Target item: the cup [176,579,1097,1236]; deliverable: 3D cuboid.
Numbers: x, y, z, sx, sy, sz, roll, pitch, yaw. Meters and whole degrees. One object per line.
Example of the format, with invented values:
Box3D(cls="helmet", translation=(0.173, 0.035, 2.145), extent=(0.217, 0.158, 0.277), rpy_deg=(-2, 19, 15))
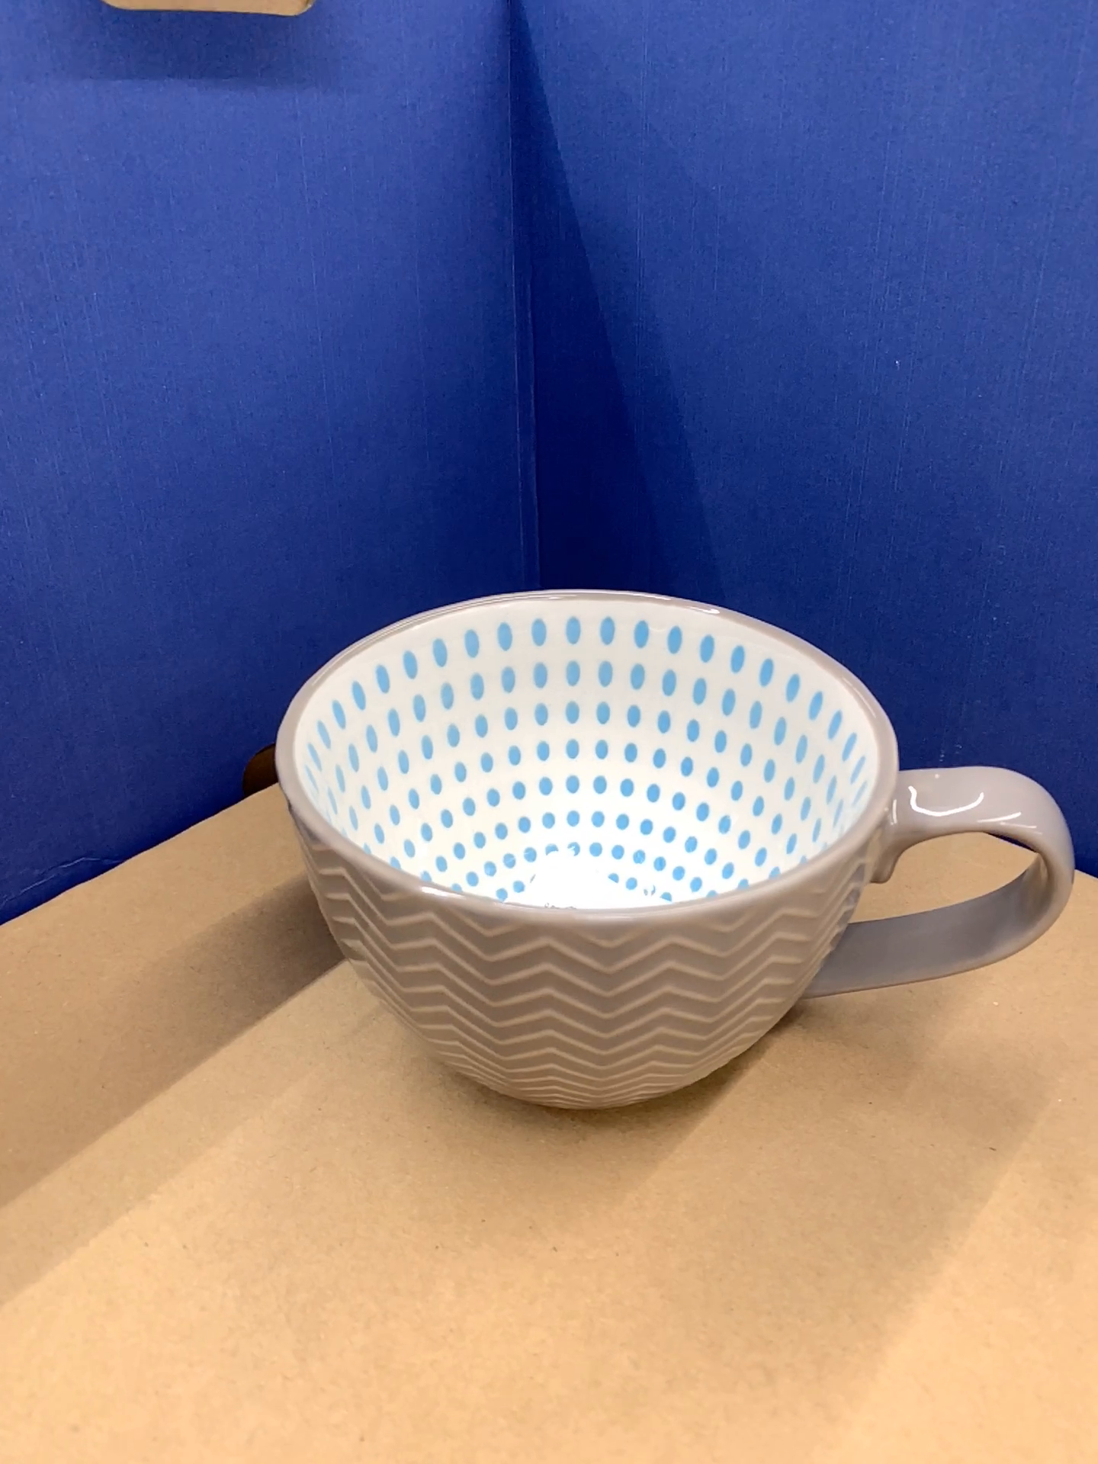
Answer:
Box3D(cls="cup", translation=(0.024, 0.022, 0.219), extent=(0.143, 0.061, 0.119), rpy_deg=(1, 30, 3))
